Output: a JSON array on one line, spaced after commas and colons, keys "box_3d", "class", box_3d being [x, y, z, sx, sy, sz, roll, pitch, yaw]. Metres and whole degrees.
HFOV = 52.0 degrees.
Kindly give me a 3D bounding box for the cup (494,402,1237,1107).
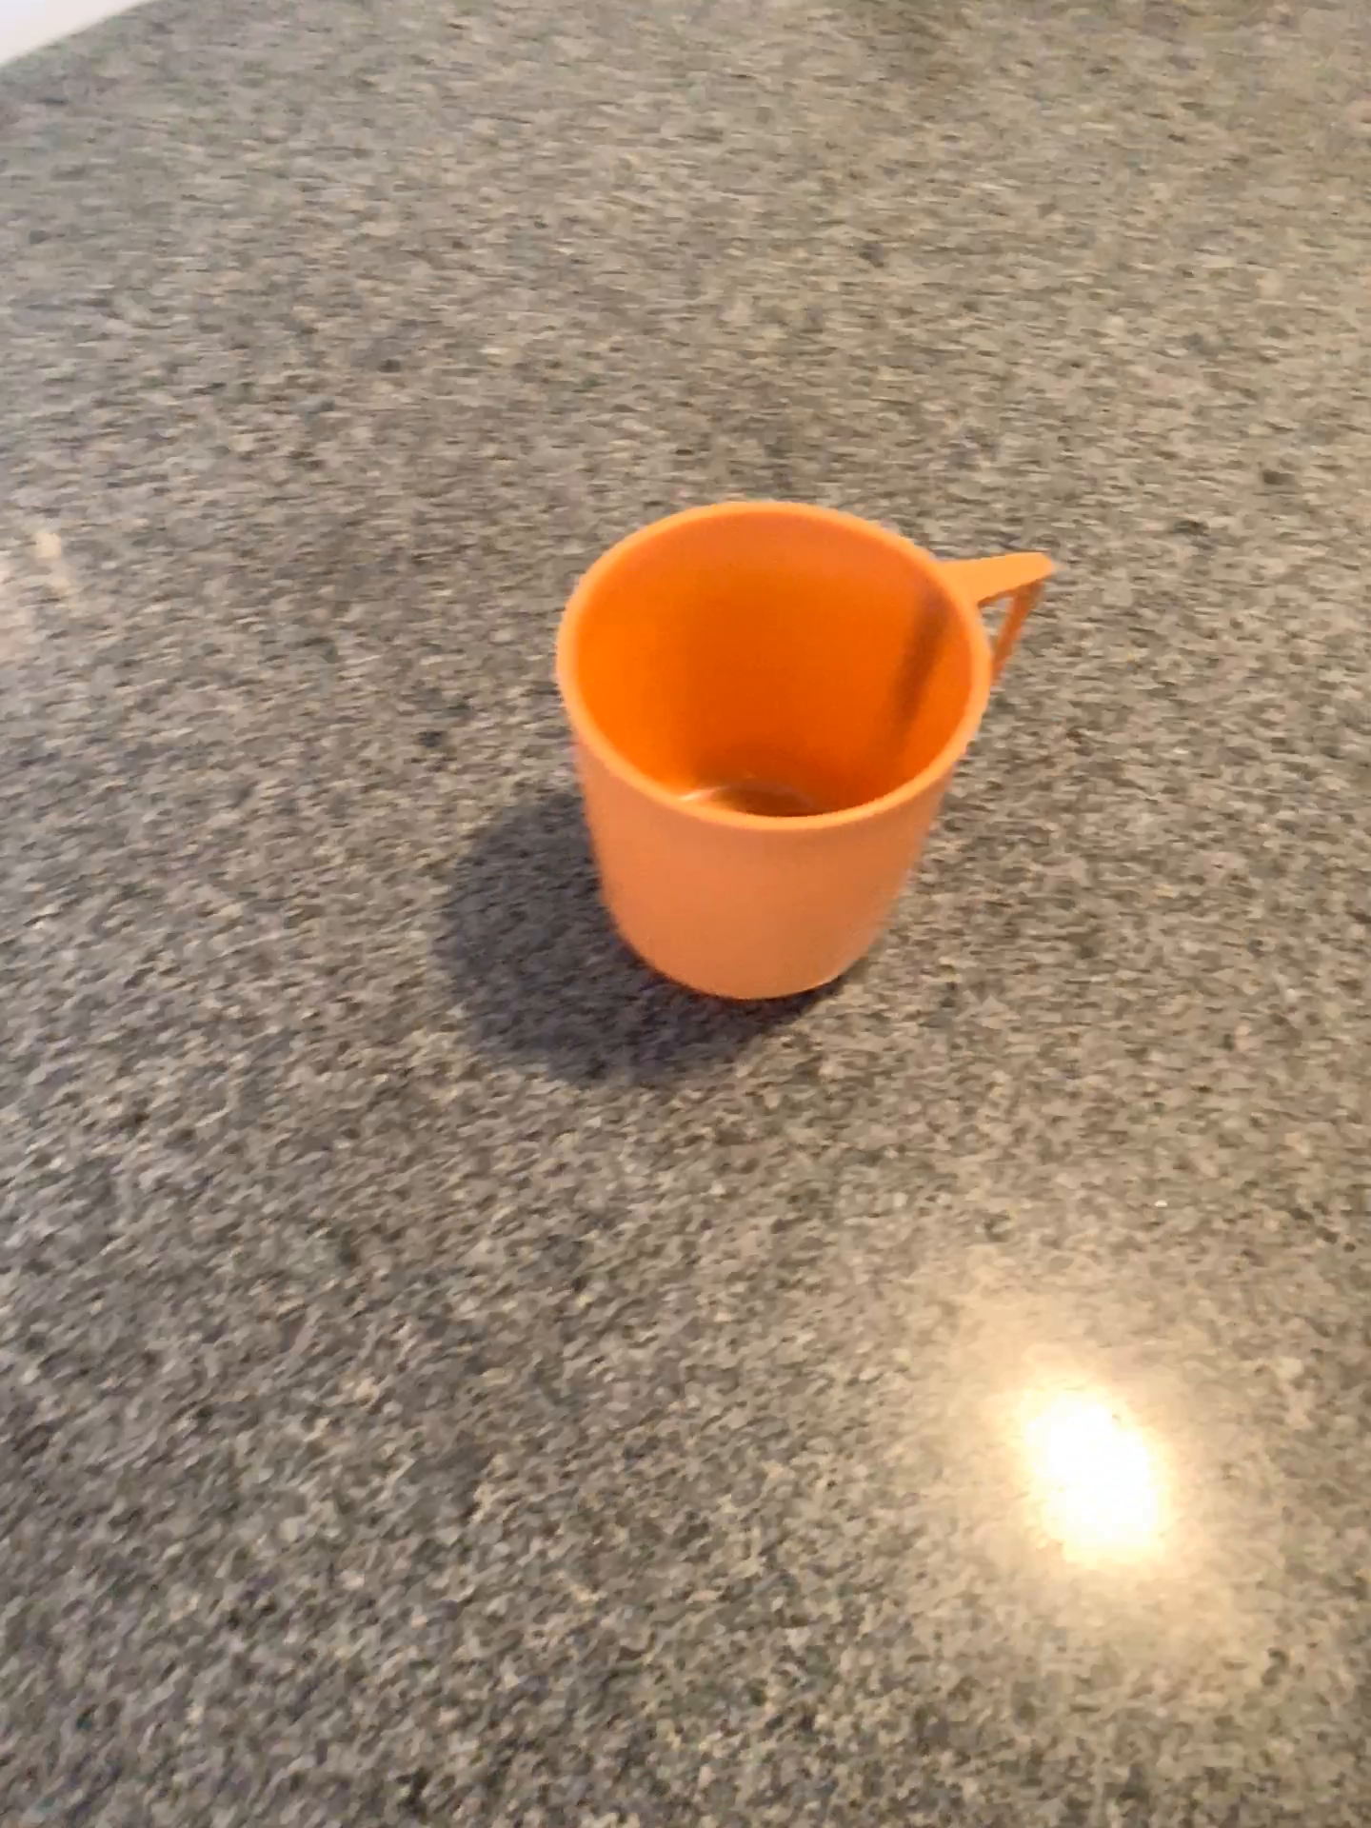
[{"box_3d": [0.029, -0.032, 0.291, 0.110, 0.090, 0.080, -18, 60, -13], "class": "cup"}]
